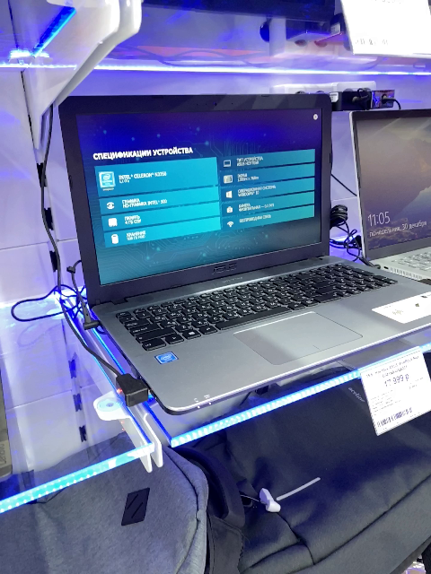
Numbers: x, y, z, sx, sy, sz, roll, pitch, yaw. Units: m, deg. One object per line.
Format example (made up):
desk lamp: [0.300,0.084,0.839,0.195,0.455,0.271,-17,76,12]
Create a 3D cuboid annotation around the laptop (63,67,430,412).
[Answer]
laptop: [0.067,-0.091,0.483,0.372,0.232,0.263,-12,21,-26]
